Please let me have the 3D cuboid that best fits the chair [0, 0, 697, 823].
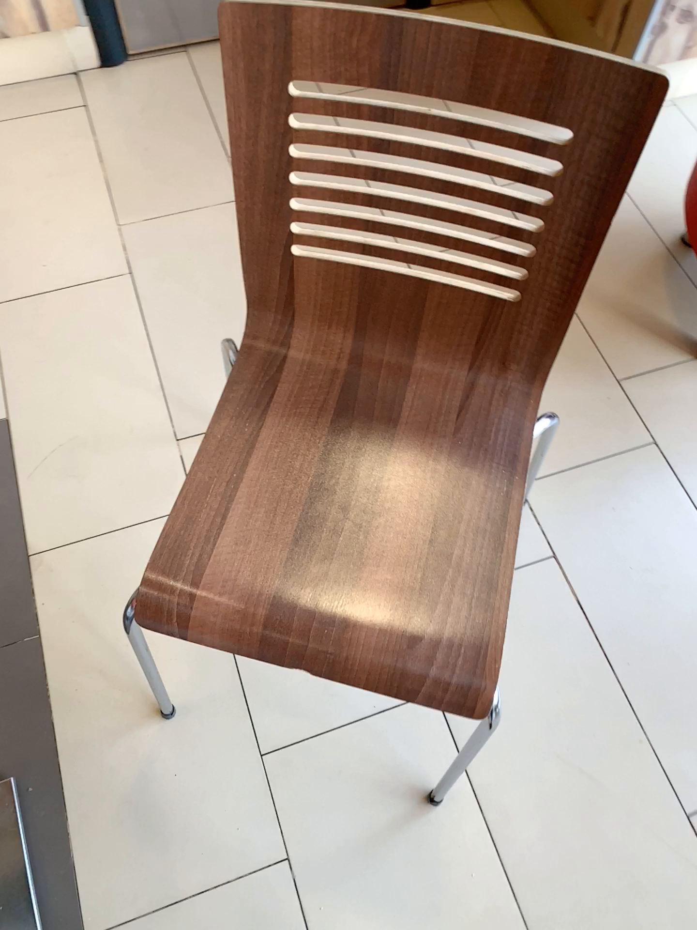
[{"bbox_3d":[0.004,0.019,0.854,0.544,0.796,0.593,15,63,6],"label":"chair"}]
